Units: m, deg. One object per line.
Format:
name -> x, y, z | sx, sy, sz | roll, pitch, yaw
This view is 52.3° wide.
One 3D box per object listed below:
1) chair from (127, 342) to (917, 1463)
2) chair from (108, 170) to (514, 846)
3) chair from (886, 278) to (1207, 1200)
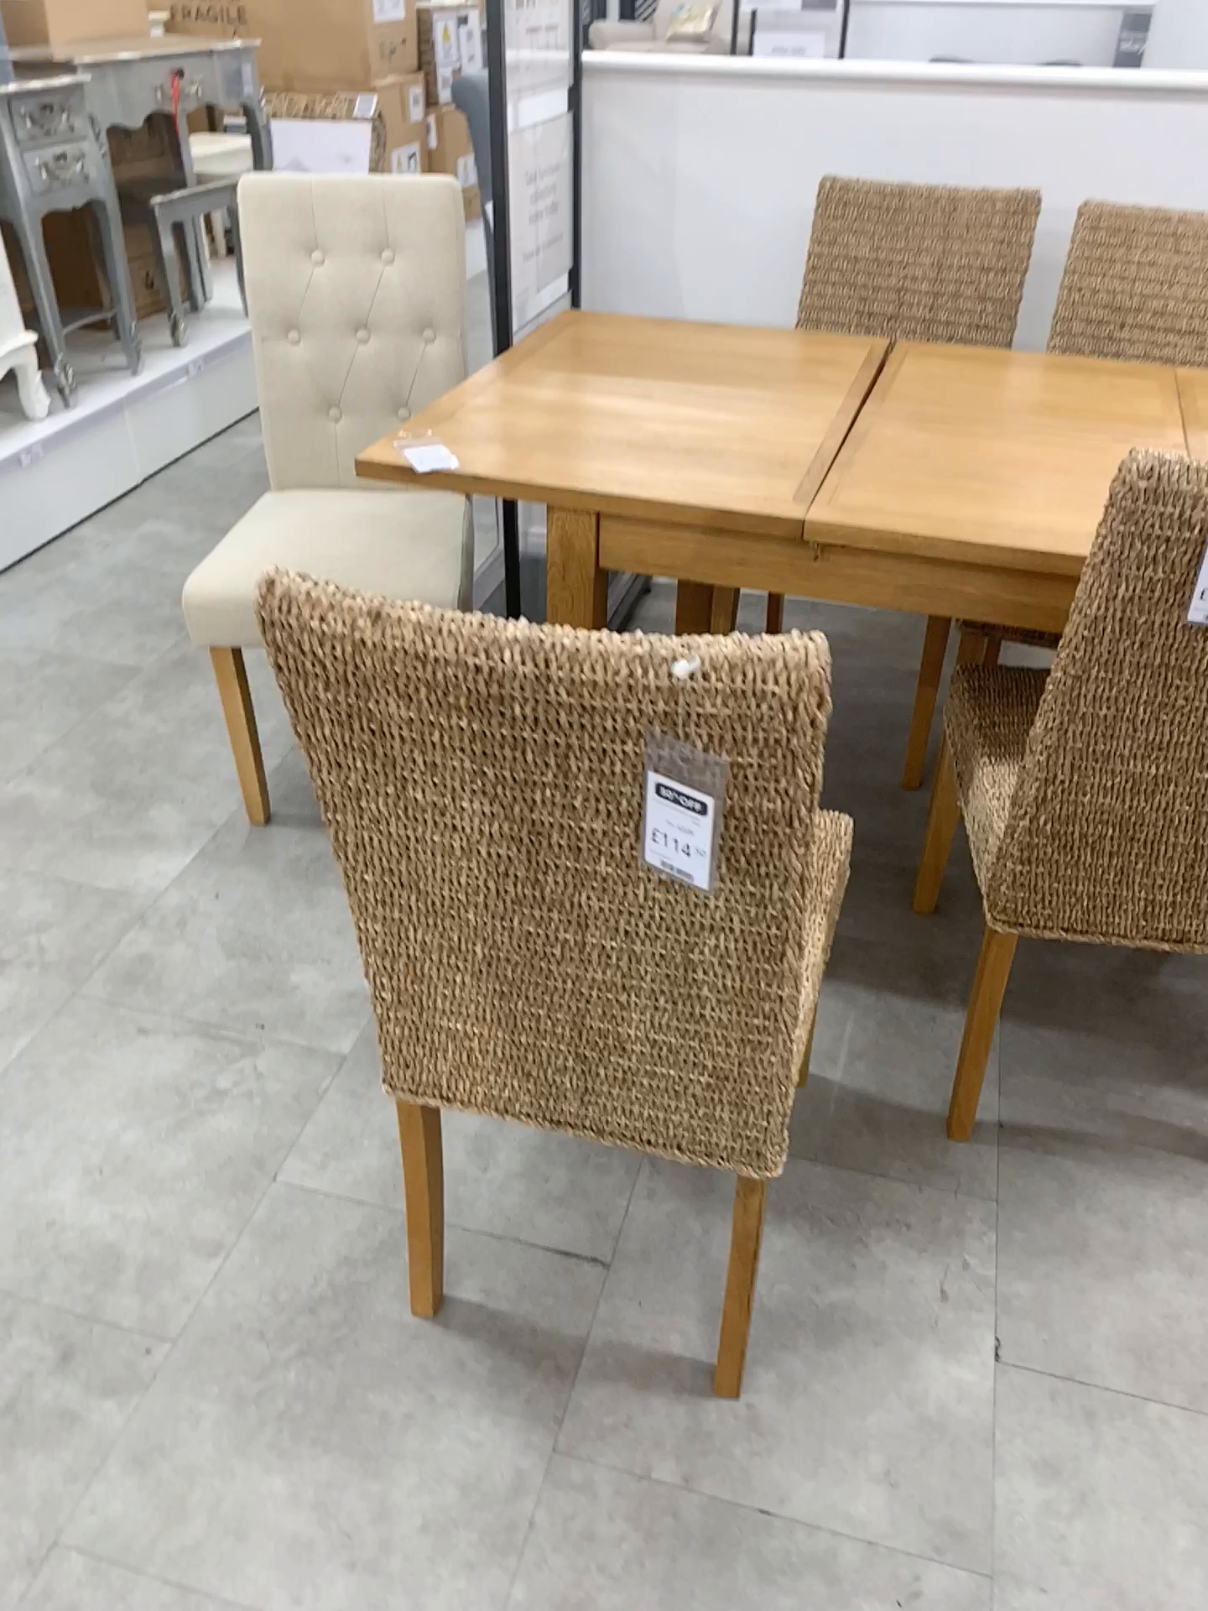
chair -> -0.014, 0.089, 1.246 | 0.487, 0.903, 0.568 | 9, 35, 12
chair -> -0.393, -0.466, 1.960 | 0.397, 0.903, 0.517 | 3, 35, 4
chair -> 0.630, -0.079, 1.458 | 0.437, 0.893, 0.558 | 5, 35, 7
